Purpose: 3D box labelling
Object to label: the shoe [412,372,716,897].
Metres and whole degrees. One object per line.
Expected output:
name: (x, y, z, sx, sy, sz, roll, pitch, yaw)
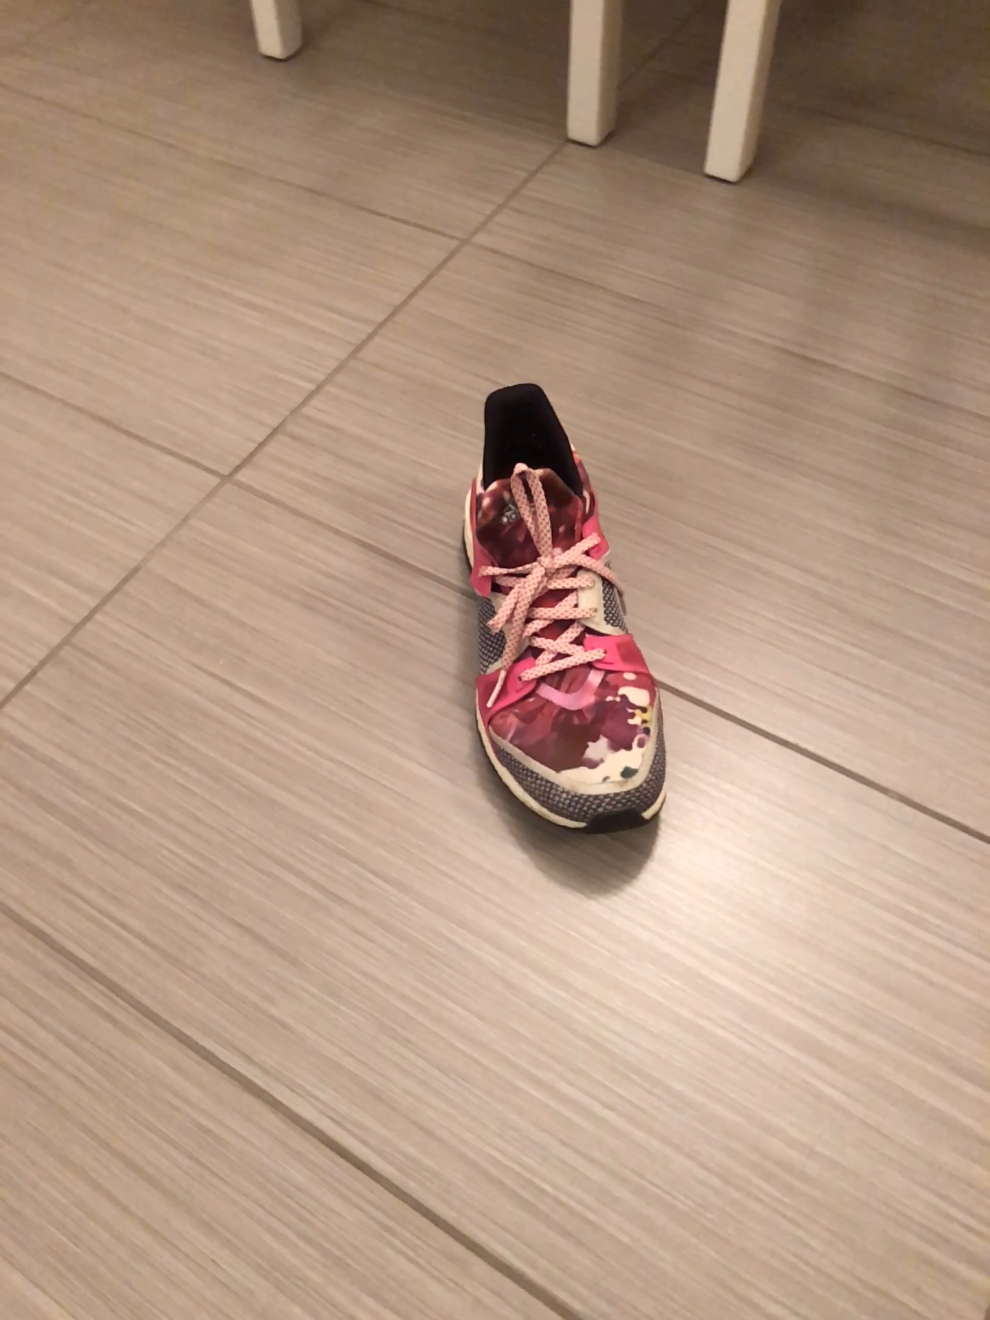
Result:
shoe: (0.028, -0.026, 0.605, 0.110, 0.090, 0.281, -9, 55, -2)
